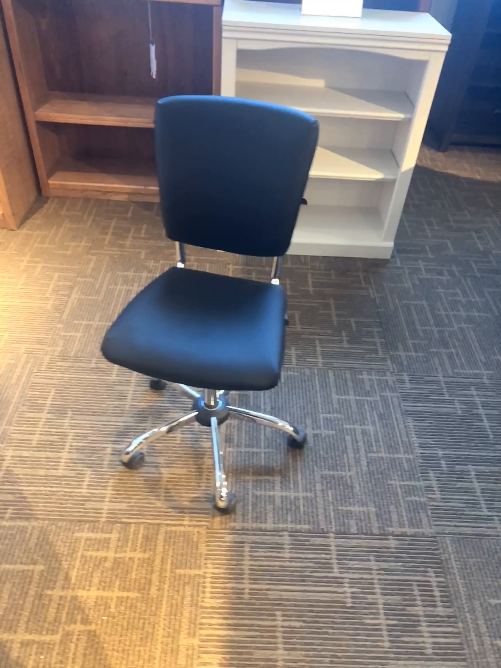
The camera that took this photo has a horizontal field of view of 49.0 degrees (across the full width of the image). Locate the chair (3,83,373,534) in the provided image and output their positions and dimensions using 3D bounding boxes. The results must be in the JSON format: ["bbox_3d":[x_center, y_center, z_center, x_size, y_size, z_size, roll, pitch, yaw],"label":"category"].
[{"bbox_3d":[-0.083,-0.059,1.357,0.573,0.826,0.610,10,42,7],"label":"chair"}]
